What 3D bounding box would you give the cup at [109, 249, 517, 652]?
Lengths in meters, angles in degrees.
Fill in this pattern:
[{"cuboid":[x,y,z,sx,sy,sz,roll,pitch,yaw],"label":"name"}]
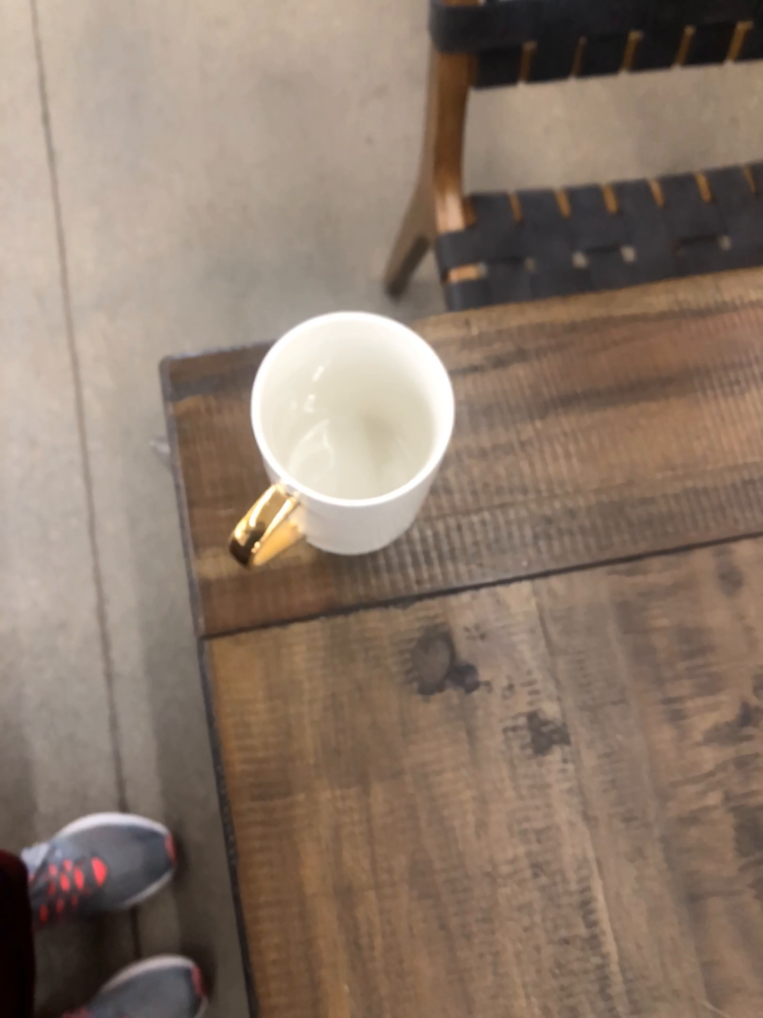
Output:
[{"cuboid":[-0.028,-0.017,0.380,0.119,0.116,0.097,-41,83,-11],"label":"cup"}]
